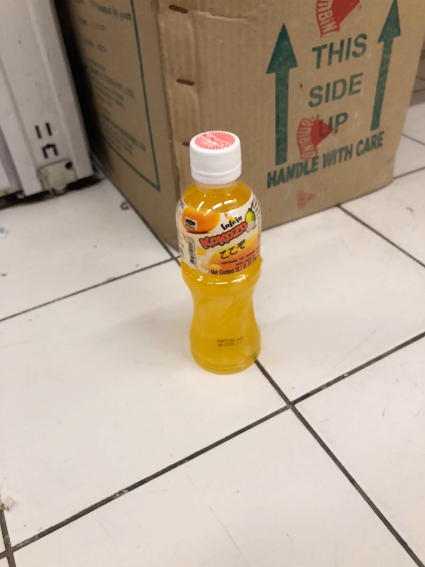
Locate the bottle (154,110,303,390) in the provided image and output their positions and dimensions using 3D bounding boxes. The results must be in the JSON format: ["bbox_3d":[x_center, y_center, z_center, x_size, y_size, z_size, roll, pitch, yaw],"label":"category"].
[{"bbox_3d":[0.011,-0.017,0.338,0.070,0.179,0.070,-2,40,2],"label":"bottle"}]
